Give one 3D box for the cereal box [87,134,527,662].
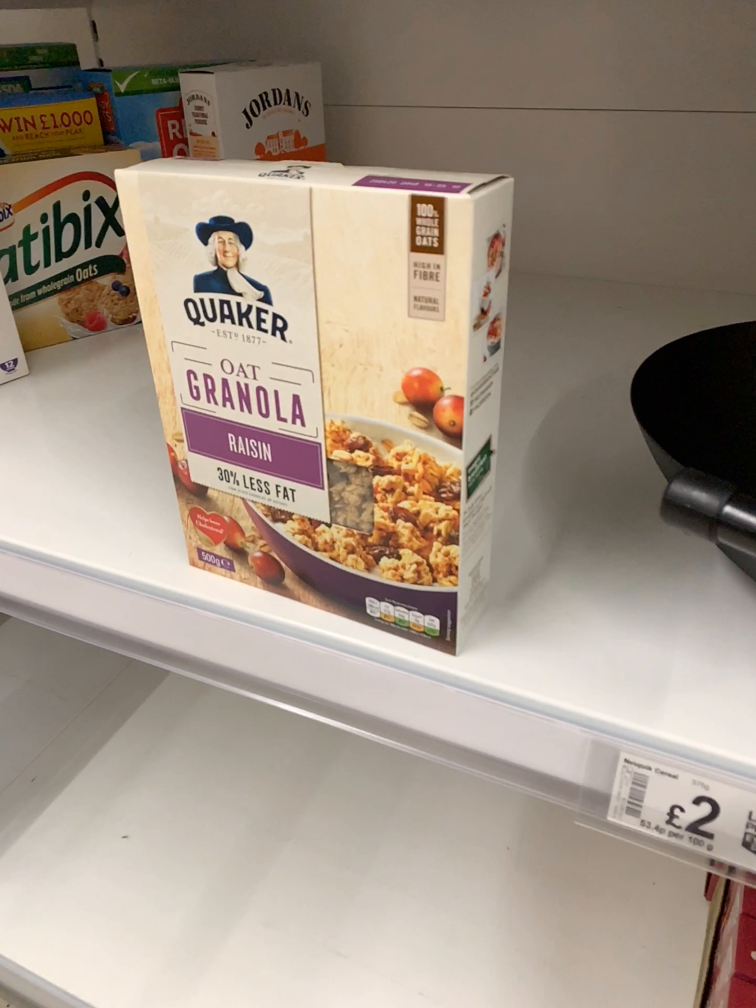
[{"bbox_3d":[-0.034,-0.057,0.419,0.200,0.248,0.060,15,35,25],"label":"cereal box"}]
